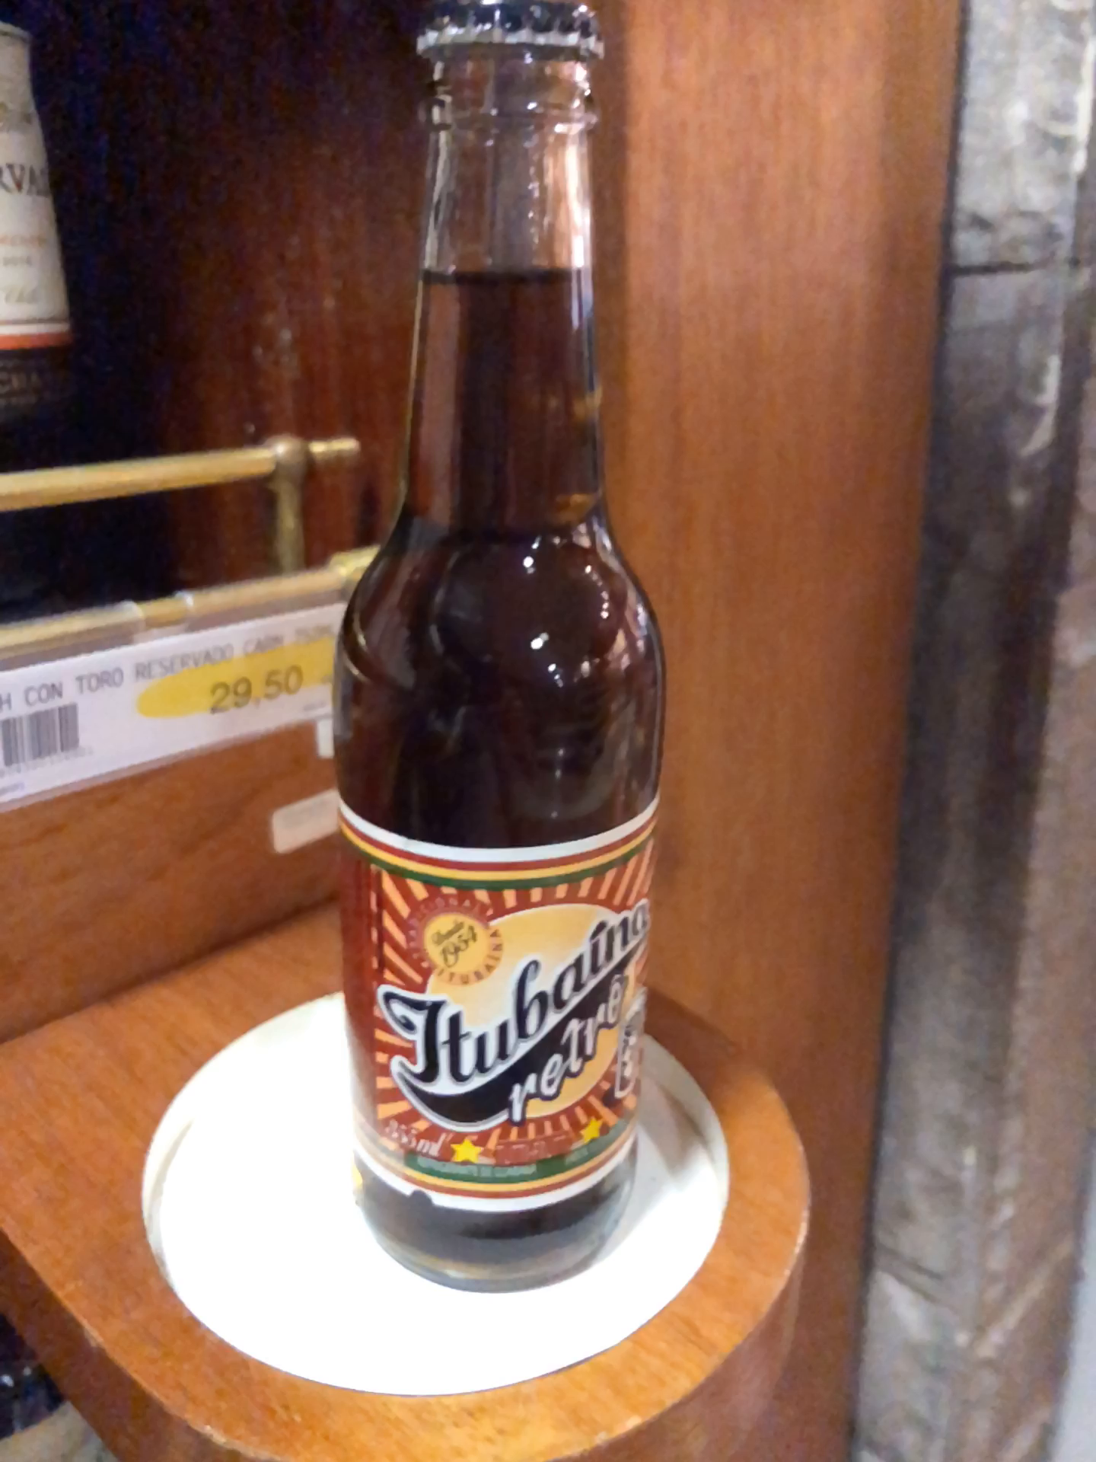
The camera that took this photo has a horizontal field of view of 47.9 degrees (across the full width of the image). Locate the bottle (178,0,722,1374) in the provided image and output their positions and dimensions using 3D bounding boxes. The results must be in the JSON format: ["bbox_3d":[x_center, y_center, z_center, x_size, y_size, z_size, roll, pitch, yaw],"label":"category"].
[{"bbox_3d":[-0.017,-0.005,0.253,0.070,0.249,0.070,-1,18,0],"label":"bottle"}]
